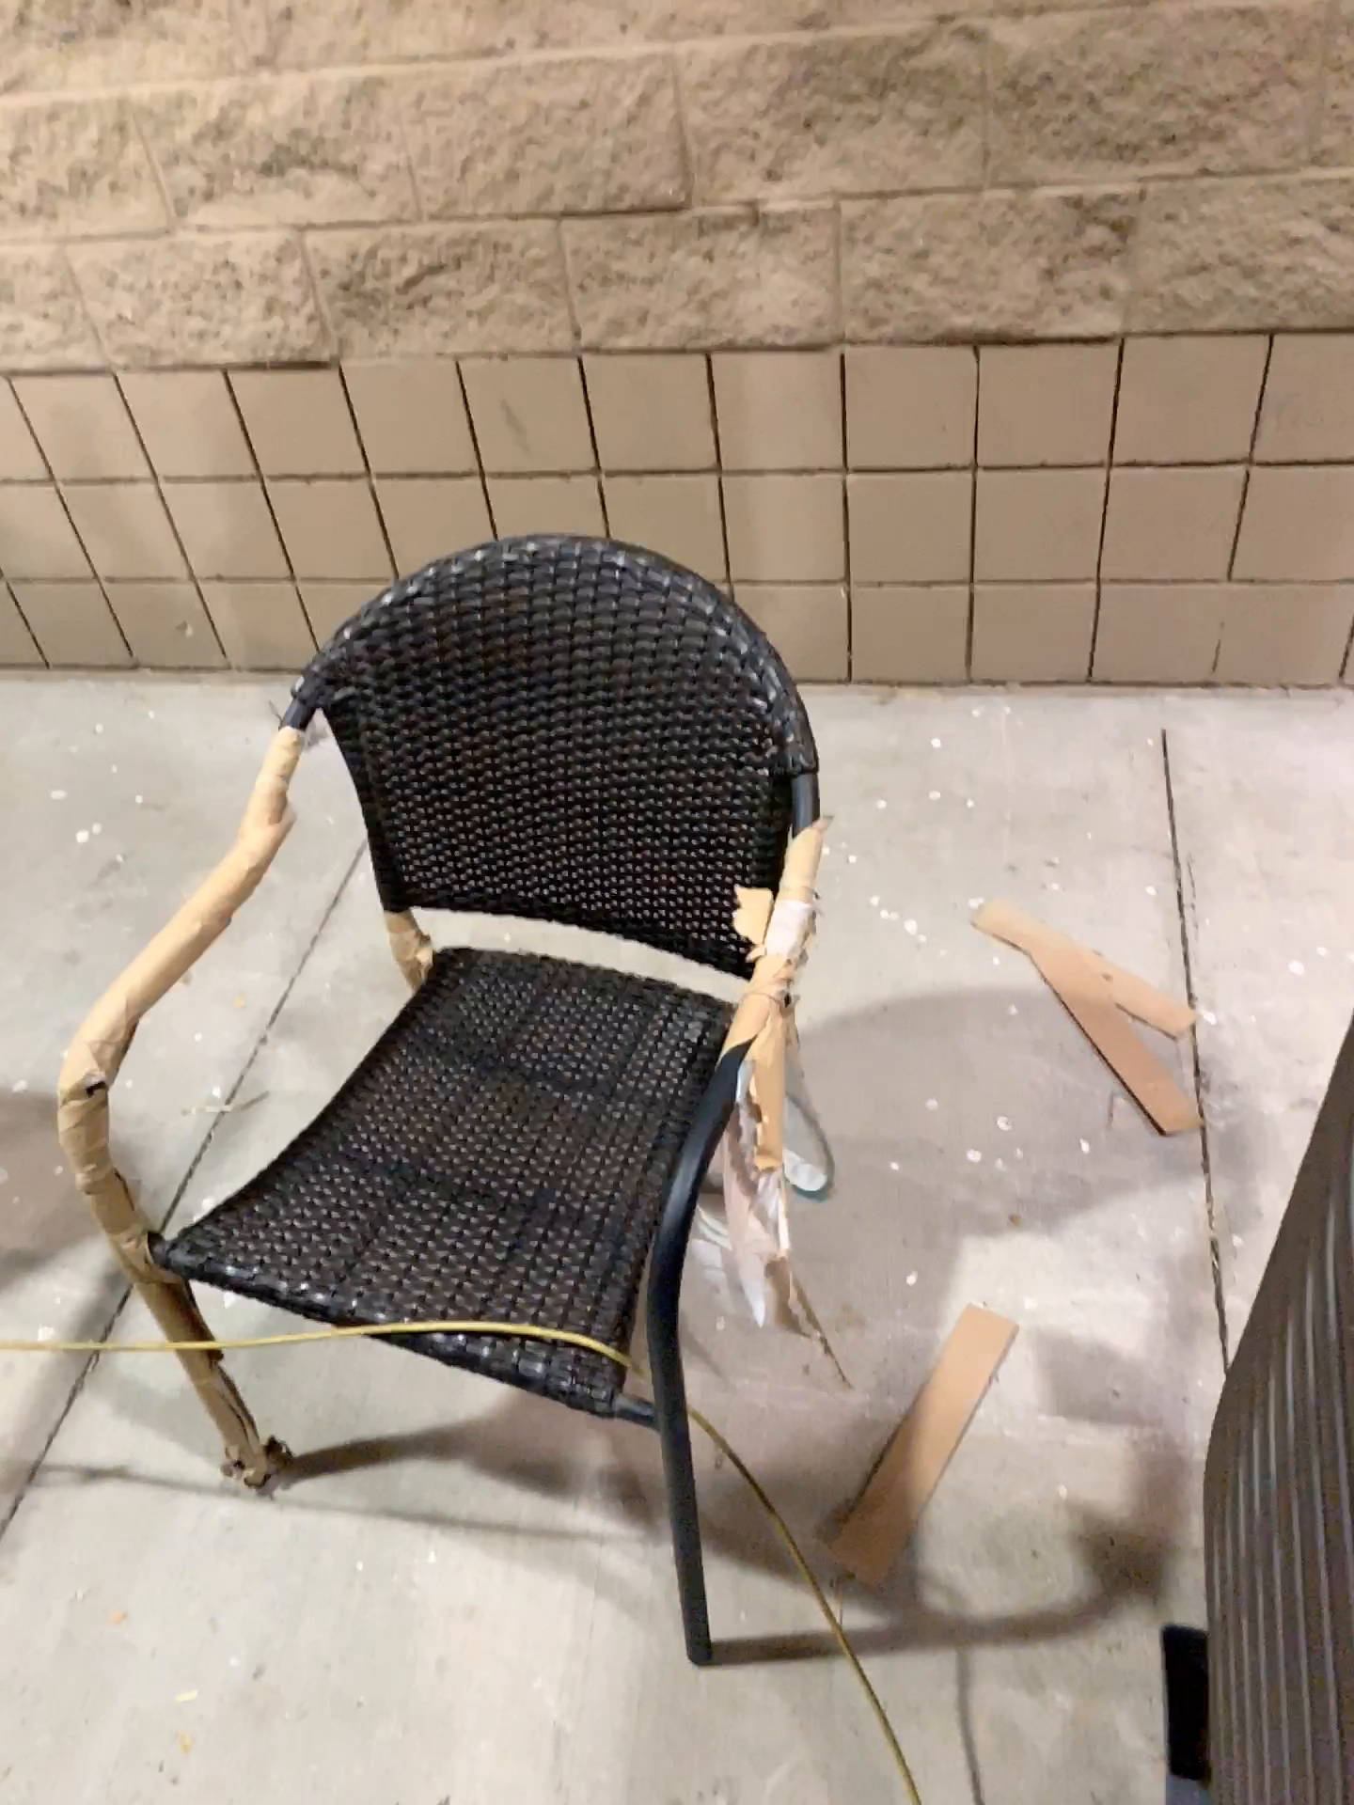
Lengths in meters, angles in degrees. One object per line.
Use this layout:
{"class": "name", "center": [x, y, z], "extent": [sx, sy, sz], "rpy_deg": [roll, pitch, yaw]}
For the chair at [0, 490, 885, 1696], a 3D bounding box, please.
{"class": "chair", "center": [-0.166, 0.171, 1.263], "extent": [0.576, 0.839, 0.599], "rpy_deg": [10, 46, 19]}
